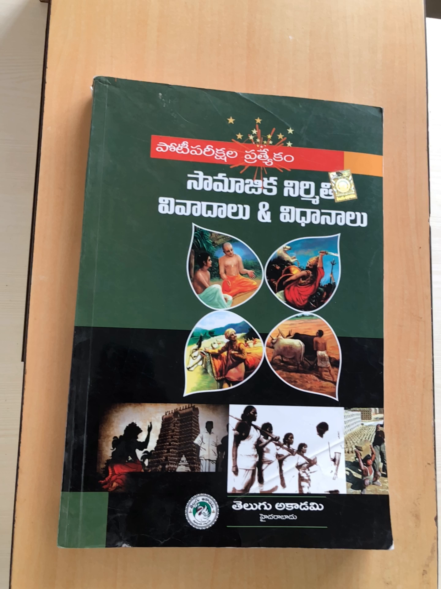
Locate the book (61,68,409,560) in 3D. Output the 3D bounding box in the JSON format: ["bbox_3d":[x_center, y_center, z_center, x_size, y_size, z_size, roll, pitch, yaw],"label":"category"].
[{"bbox_3d":[0.013,0.009,0.305,0.190,0.050,0.270,3,82,-8],"label":"book"}]
